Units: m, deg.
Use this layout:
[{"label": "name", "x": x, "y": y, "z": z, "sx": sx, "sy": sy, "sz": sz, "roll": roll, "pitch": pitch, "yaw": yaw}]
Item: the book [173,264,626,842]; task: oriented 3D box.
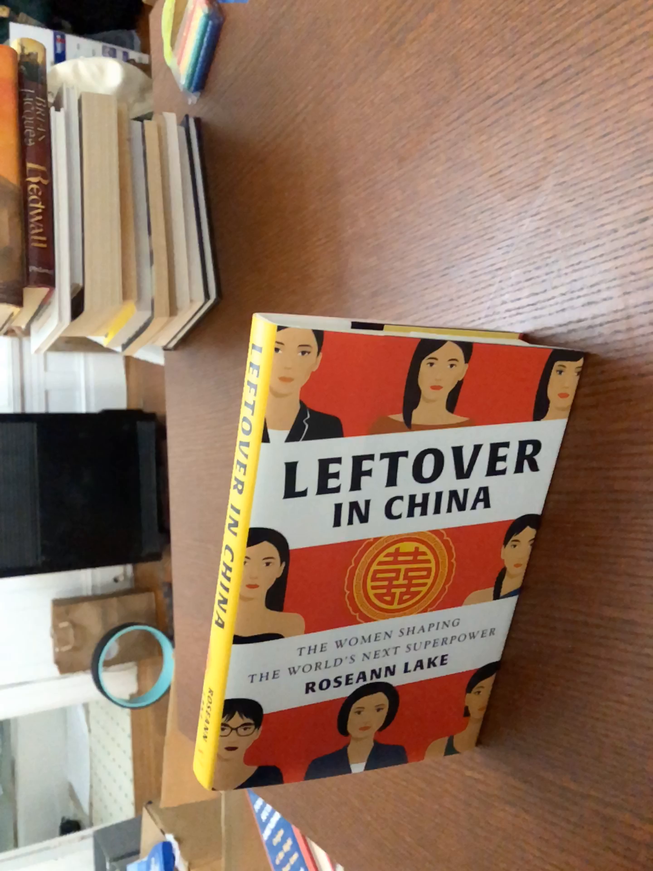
[{"label": "book", "x": 0.031, "y": 0.058, "z": 0.369, "sx": 0.060, "sy": 0.179, "sz": 0.260, "roll": 37, "pitch": 122, "yaw": 53}]
